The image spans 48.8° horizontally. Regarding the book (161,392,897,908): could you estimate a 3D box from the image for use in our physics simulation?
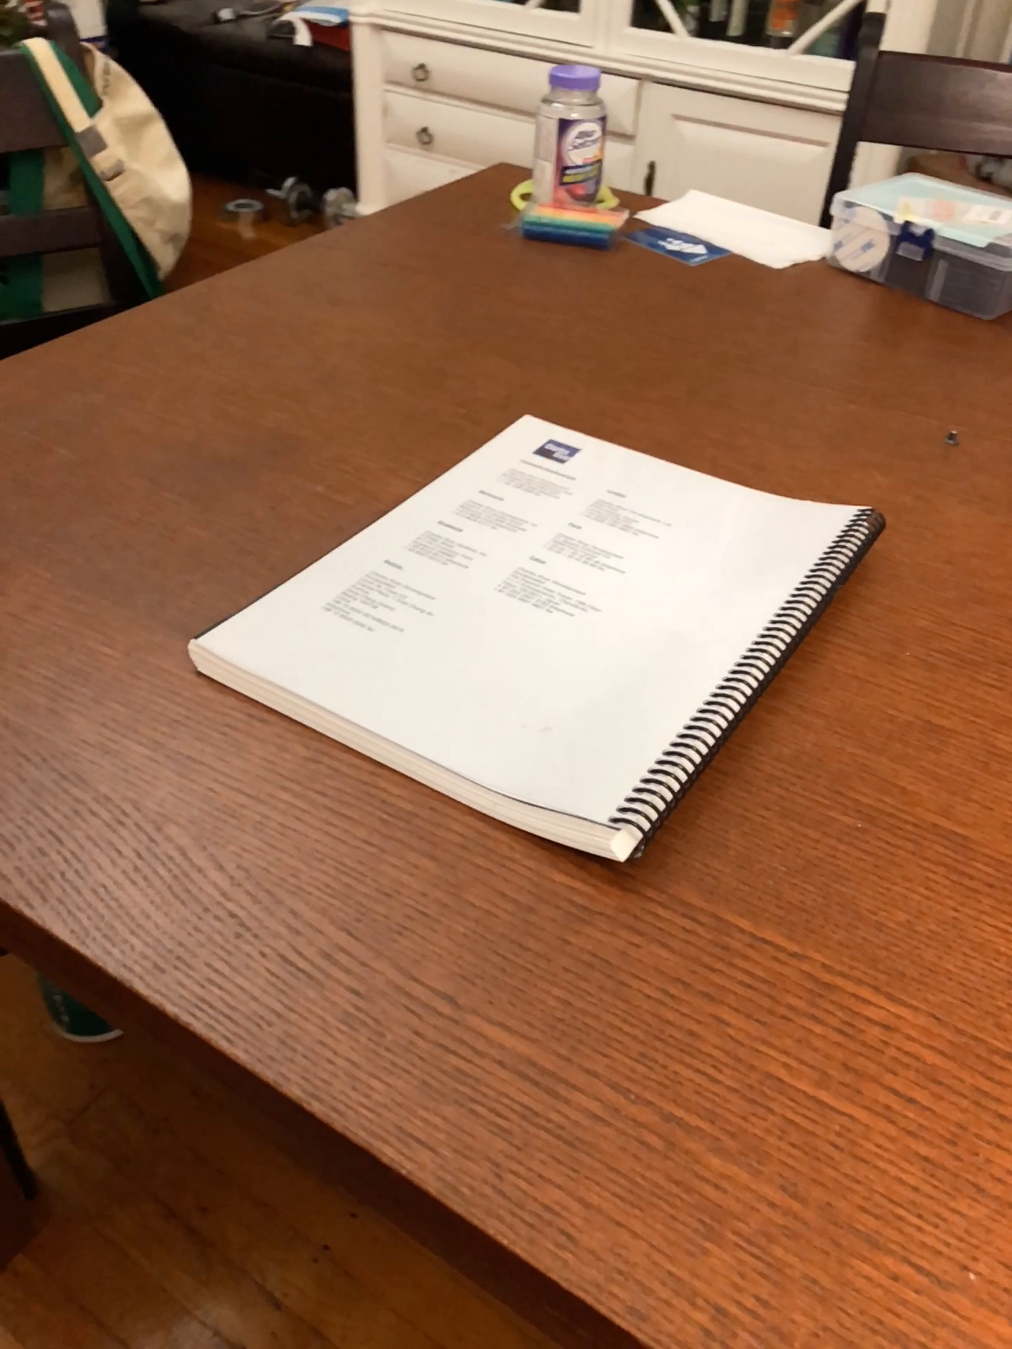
[{"bbox_3d":[0.029,-0.044,0.541,0.230,0.020,0.301,23,44,23],"label":"book"}]
